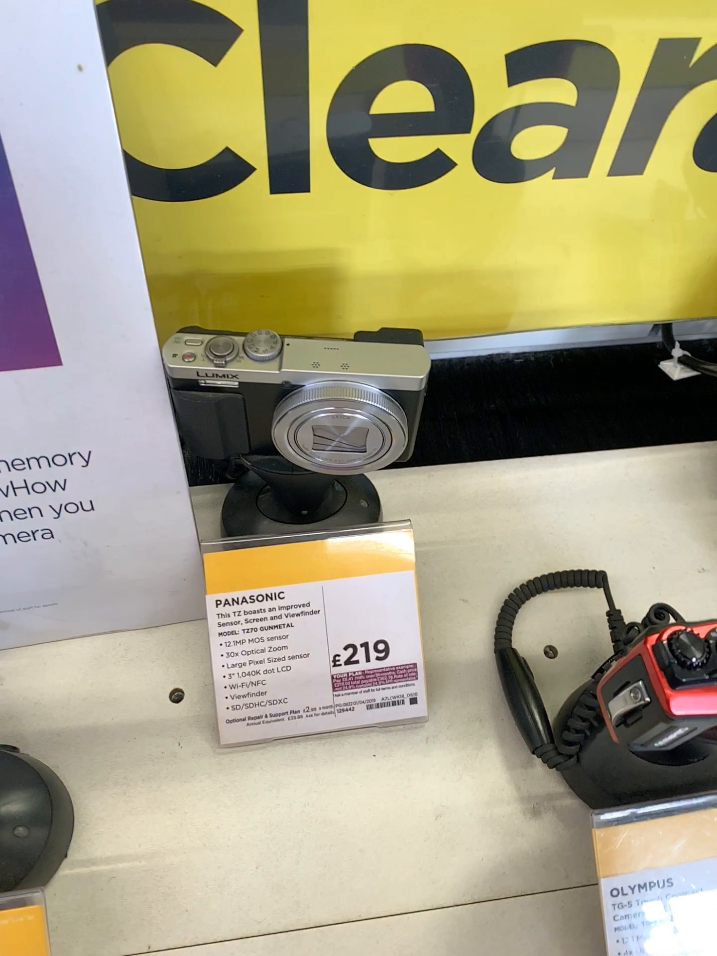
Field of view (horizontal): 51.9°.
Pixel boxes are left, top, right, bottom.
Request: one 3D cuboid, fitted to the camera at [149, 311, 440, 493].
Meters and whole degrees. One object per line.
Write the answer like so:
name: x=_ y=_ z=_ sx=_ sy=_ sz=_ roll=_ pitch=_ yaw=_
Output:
camera: x=-0.025 y=-0.031 z=0.320 sx=0.110 sy=0.070 sz=0.040 roll=2 pitch=58 yaw=-2
